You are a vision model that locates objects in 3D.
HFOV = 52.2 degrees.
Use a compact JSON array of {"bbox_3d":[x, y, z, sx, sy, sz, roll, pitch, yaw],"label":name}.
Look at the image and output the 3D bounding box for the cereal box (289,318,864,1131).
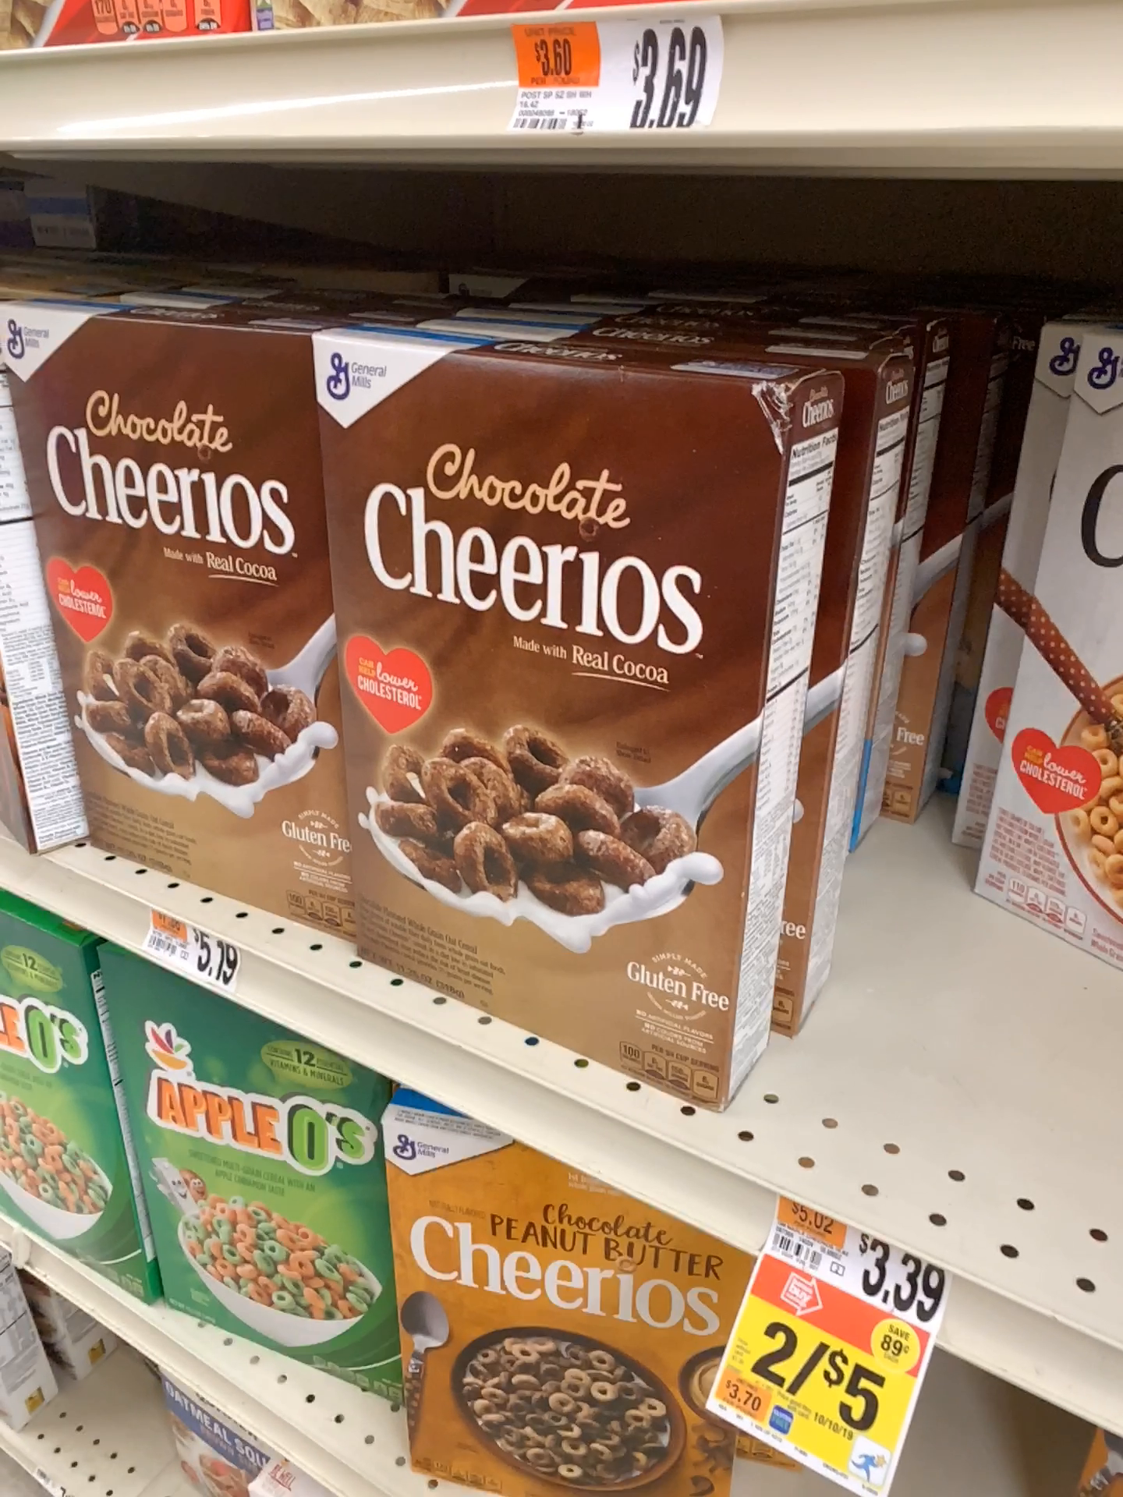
[{"bbox_3d":[-0.002,-0.013,0.483,0.210,0.298,0.060,17,31,29],"label":"cereal box"}]
